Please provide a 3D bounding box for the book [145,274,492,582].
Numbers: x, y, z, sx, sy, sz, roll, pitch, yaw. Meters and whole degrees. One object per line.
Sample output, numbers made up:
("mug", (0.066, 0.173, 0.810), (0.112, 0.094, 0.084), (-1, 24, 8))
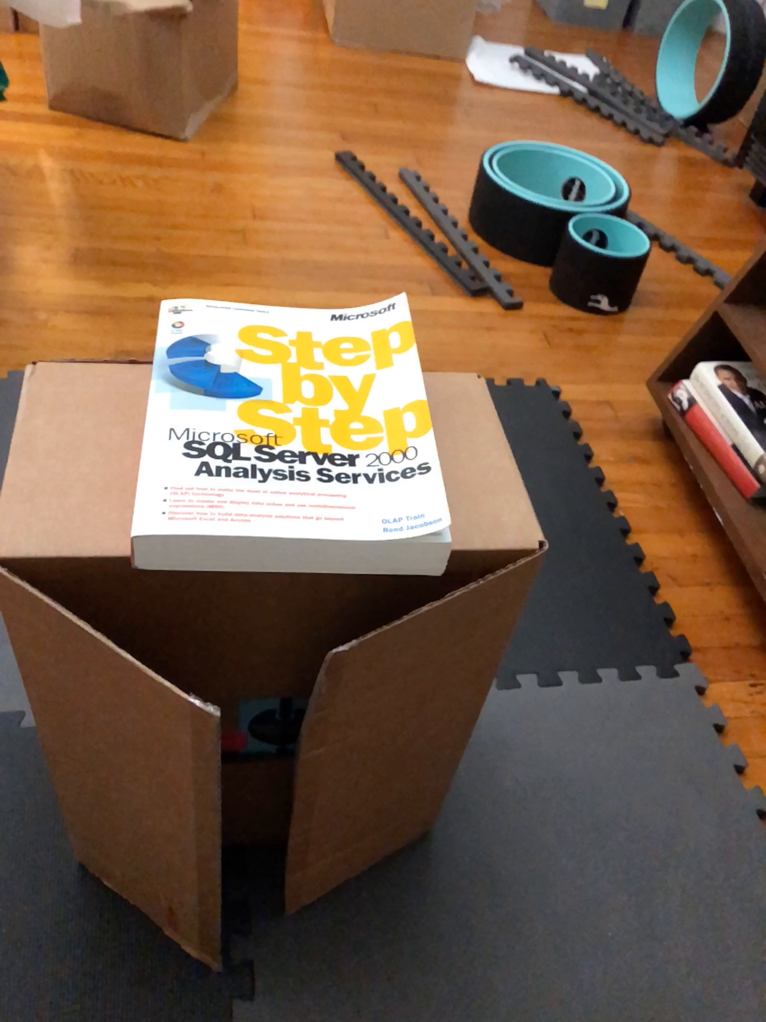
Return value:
("book", (-0.058, -0.066, 0.582), (0.200, 0.050, 0.241), (-1, 48, -17))
